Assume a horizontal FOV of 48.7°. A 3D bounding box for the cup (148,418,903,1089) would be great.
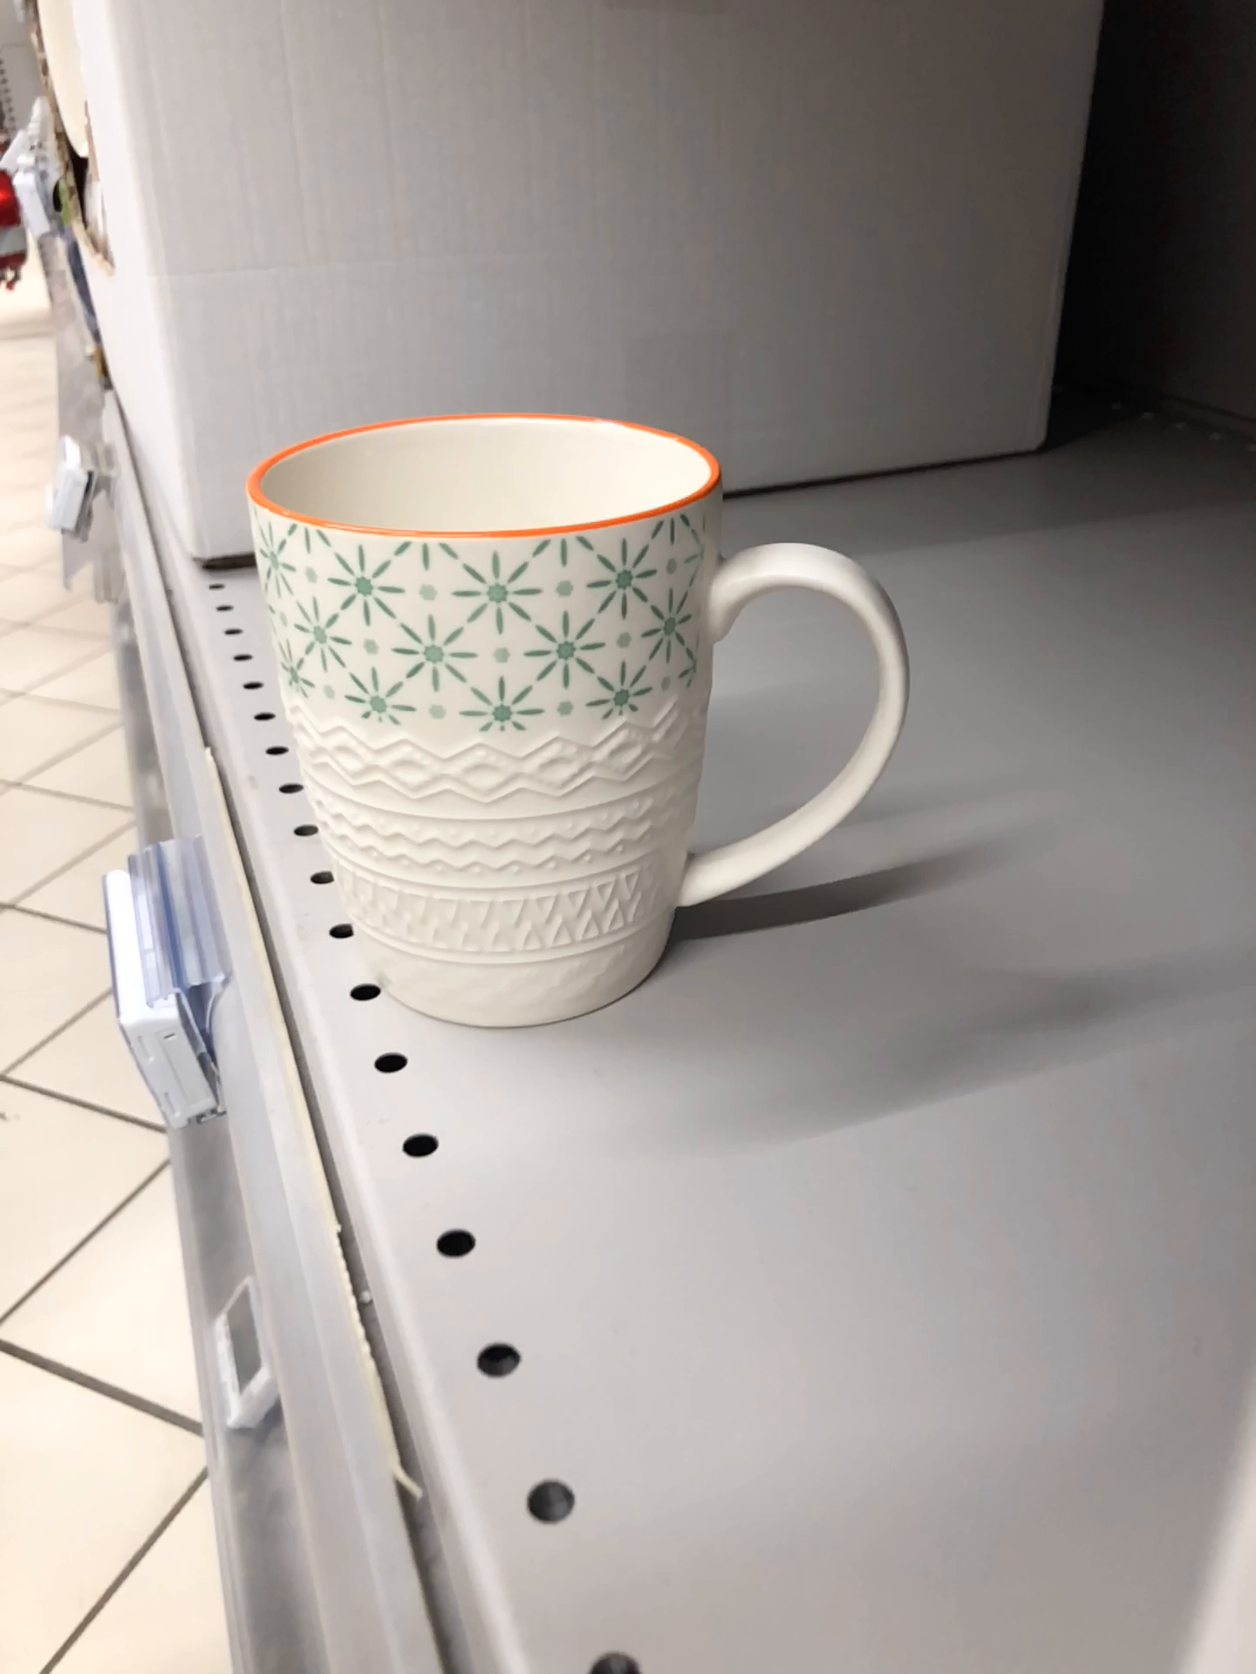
[{"bbox_3d":[-0.009,-0.024,0.272,0.117,0.100,0.093,3,25,9],"label":"cup"}]
